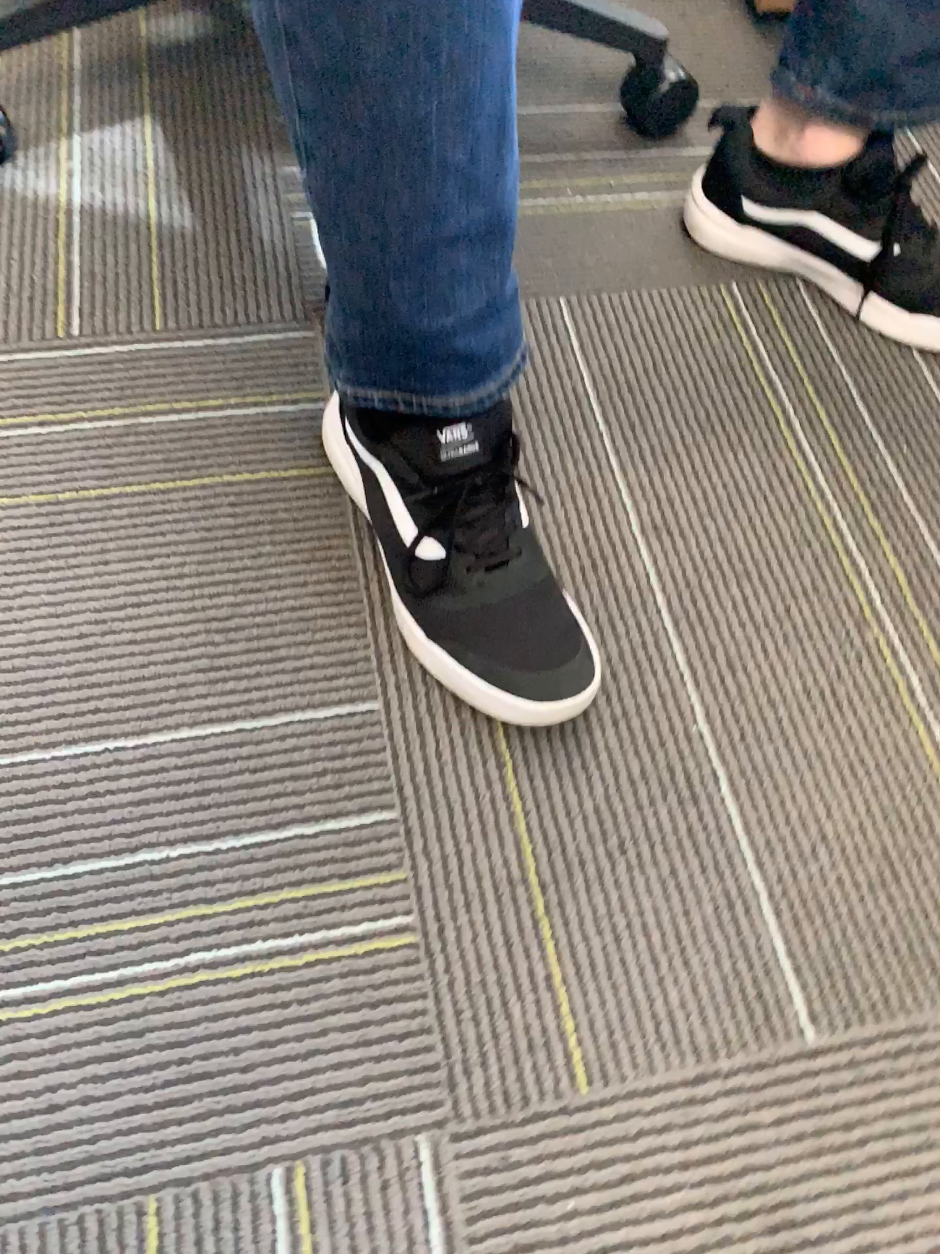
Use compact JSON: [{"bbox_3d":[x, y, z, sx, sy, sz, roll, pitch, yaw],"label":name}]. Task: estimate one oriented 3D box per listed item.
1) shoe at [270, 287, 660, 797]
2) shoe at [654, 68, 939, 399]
[{"bbox_3d":[-0.018,-0.066,0.661,0.120,0.120,0.321,-21,65,-16],"label":"shoe"},{"bbox_3d":[0.341,-0.340,0.824,0.320,0.110,0.120,28,62,10],"label":"shoe"}]
